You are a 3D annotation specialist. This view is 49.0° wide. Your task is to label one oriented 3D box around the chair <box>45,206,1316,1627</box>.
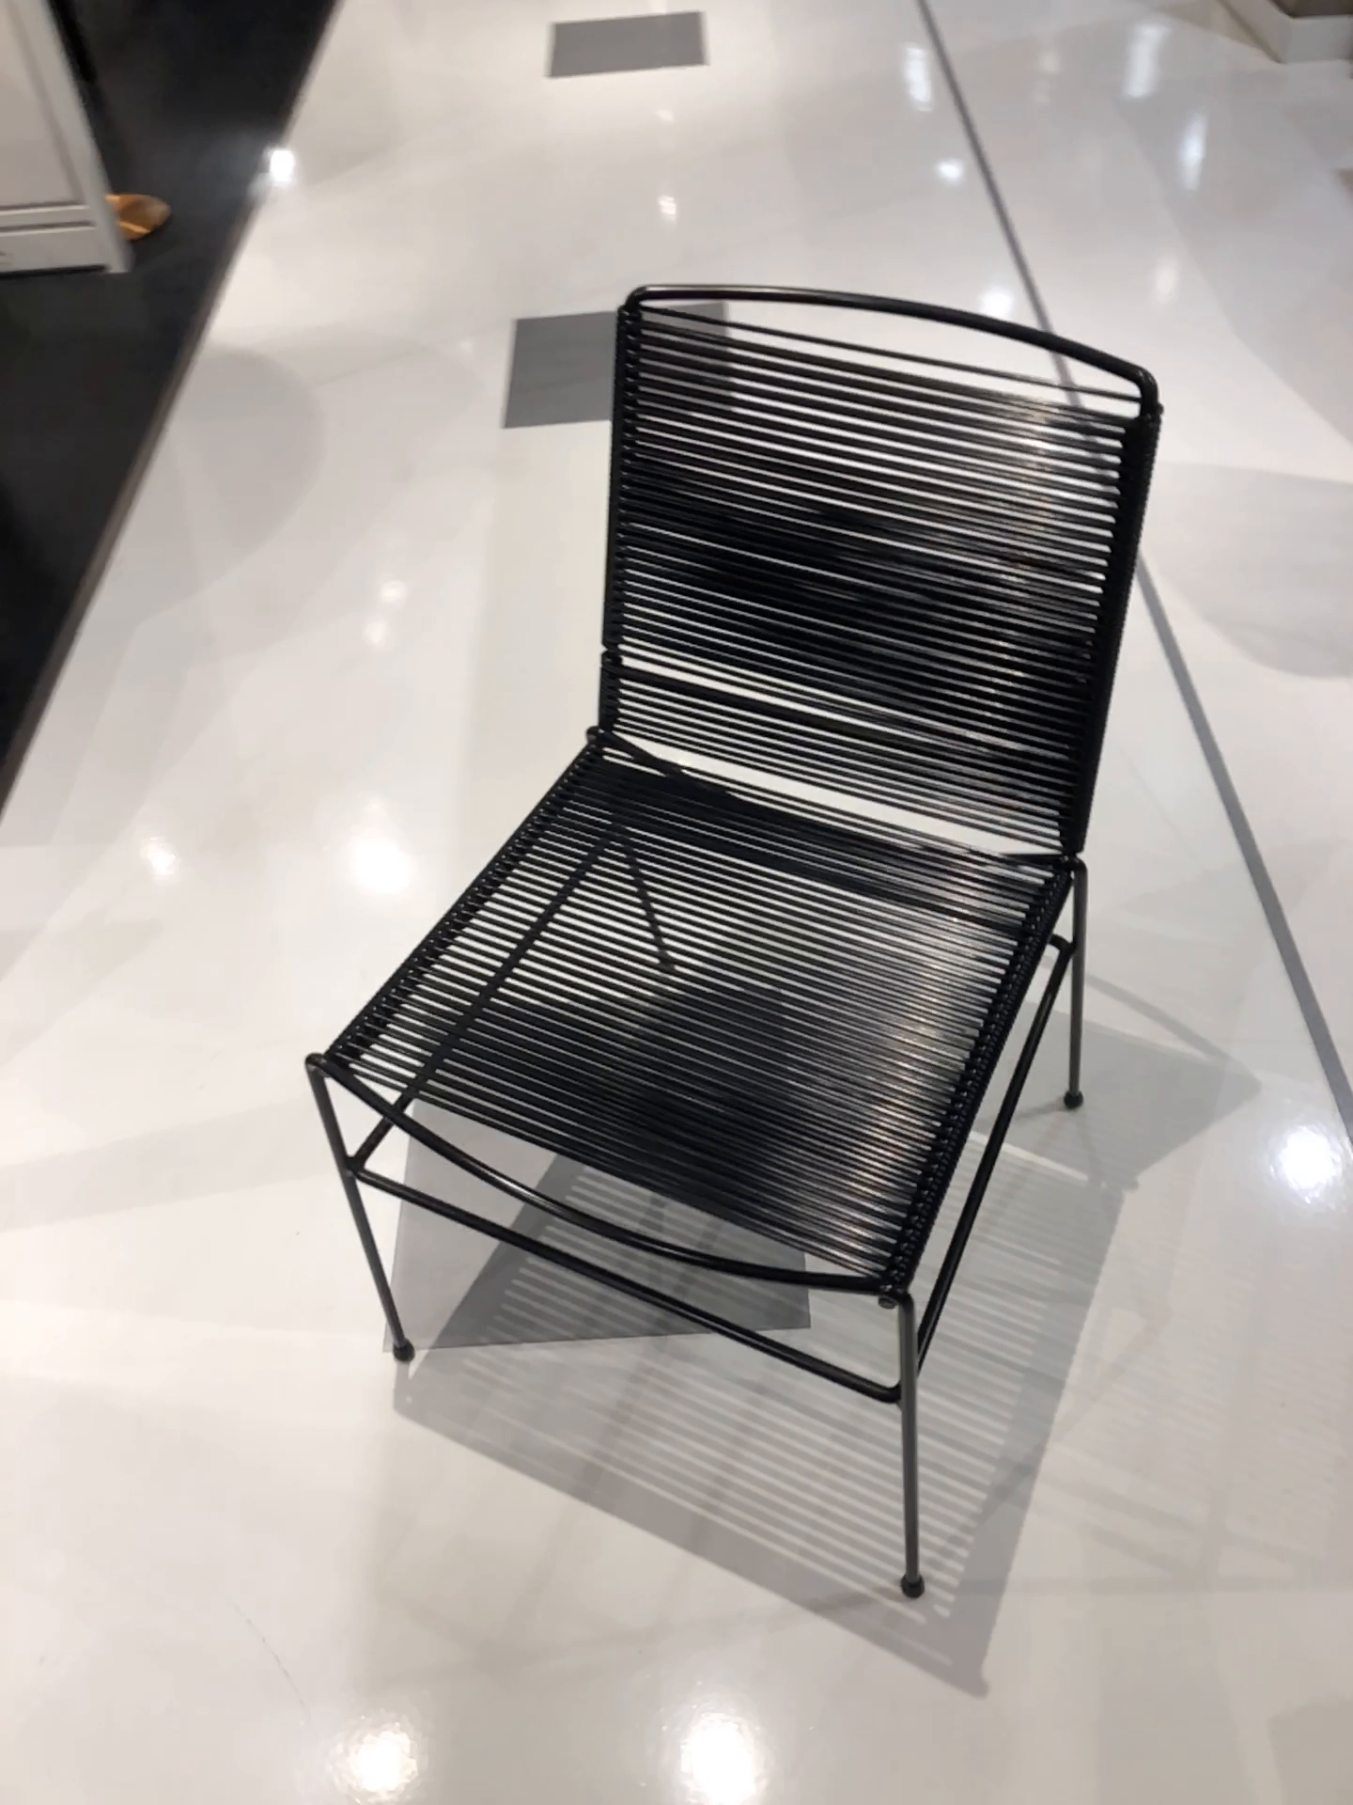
[{"bbox_3d":[0.068,0.022,1.130,0.521,0.795,0.583,17,51,21],"label":"chair"}]
